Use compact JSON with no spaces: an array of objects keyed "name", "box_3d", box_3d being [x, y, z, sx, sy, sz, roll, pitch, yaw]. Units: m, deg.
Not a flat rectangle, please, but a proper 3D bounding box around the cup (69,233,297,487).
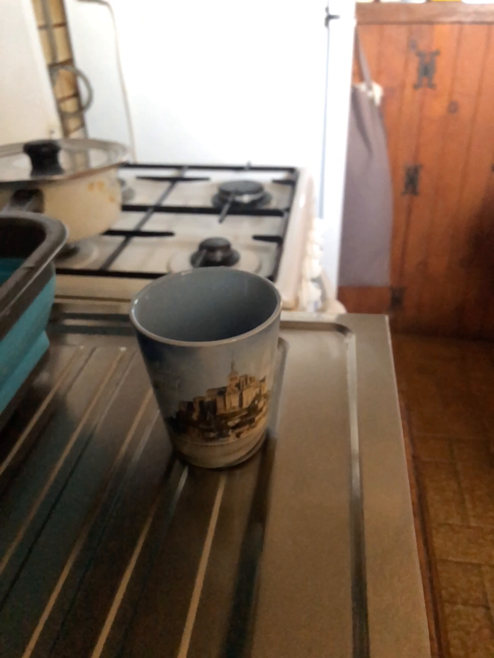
[{"name":"cup","box_3d":[-0.029,0.011,0.365,0.100,0.099,0.131,7,32,13]}]
